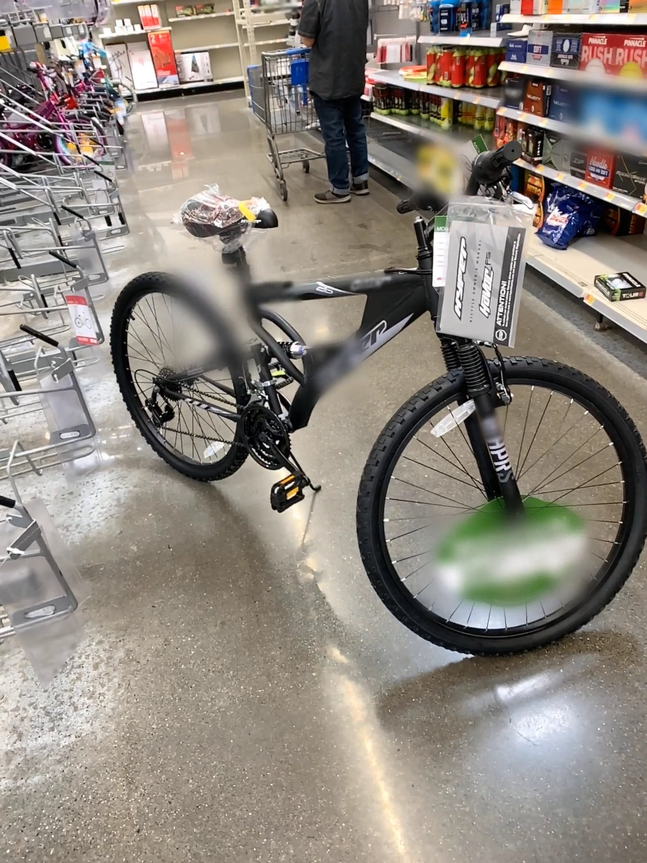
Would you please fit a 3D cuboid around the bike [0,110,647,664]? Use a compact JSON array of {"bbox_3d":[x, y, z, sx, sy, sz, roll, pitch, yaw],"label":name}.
[{"bbox_3d":[0.067,-0.260,1.932,1.679,1.089,0.694,15,38,27],"label":"bike"}]
